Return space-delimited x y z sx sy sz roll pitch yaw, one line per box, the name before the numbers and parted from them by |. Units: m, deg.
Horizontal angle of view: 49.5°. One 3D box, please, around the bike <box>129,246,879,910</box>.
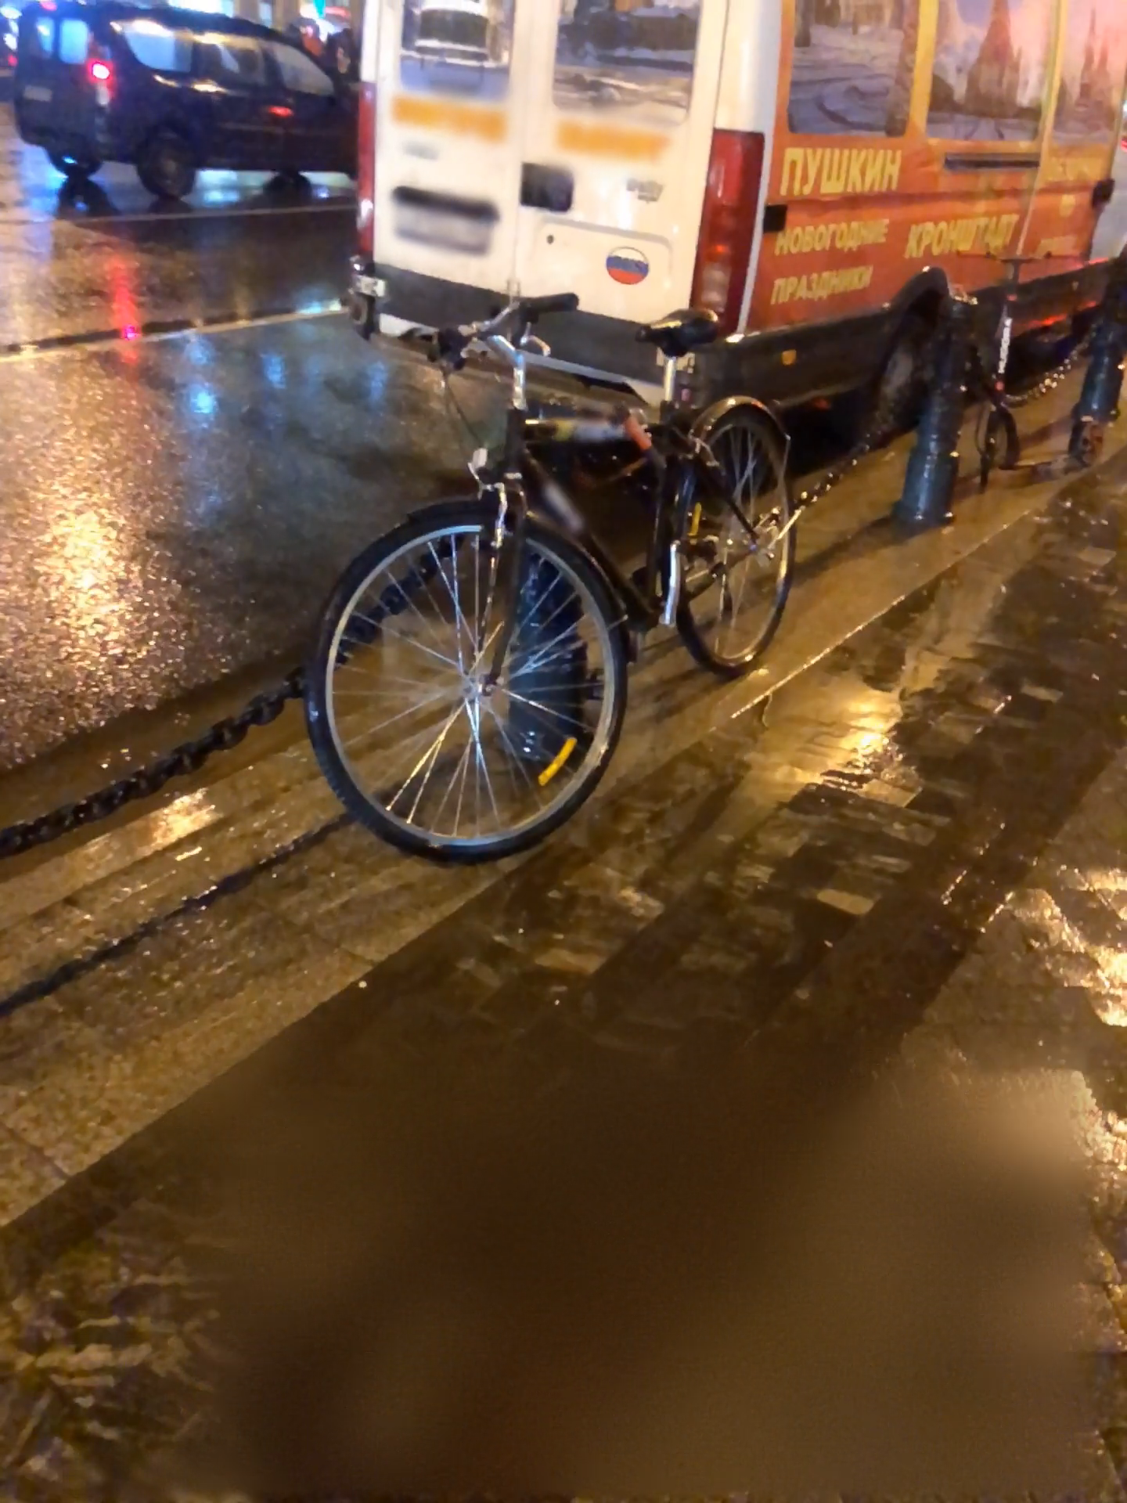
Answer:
bike | -0.010 -0.541 2.791 0.554 0.961 1.755 22 34 32
